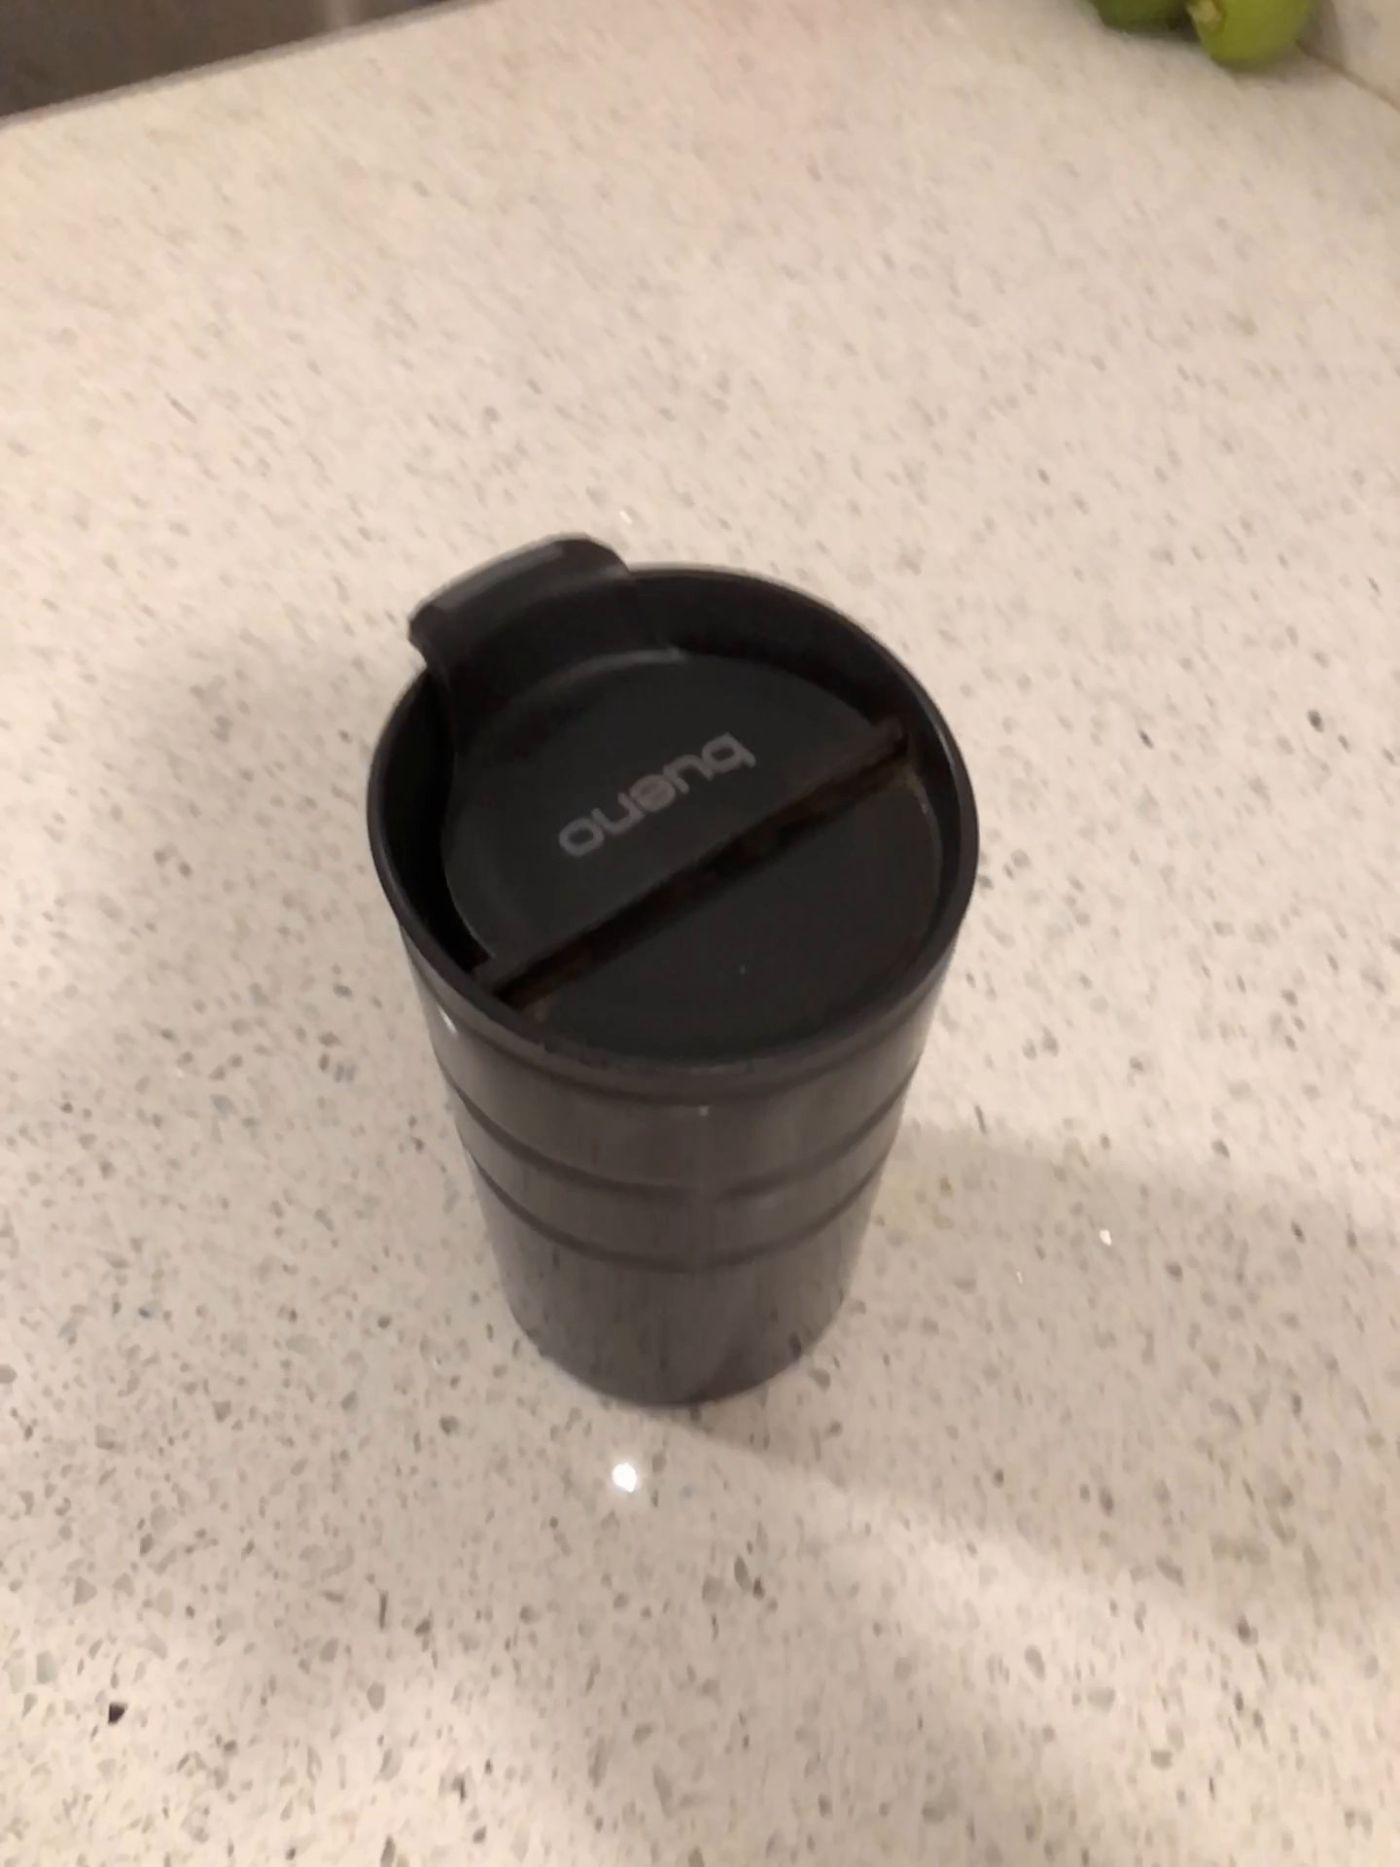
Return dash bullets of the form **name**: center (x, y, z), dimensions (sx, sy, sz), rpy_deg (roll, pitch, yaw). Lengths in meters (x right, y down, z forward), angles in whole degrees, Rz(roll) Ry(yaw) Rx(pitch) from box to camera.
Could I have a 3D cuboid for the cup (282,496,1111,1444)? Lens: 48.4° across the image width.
- **cup**: center (-0.004, 0.012, 0.233), dimensions (0.086, 0.116, 0.085), rpy_deg (0, 54, 0)
